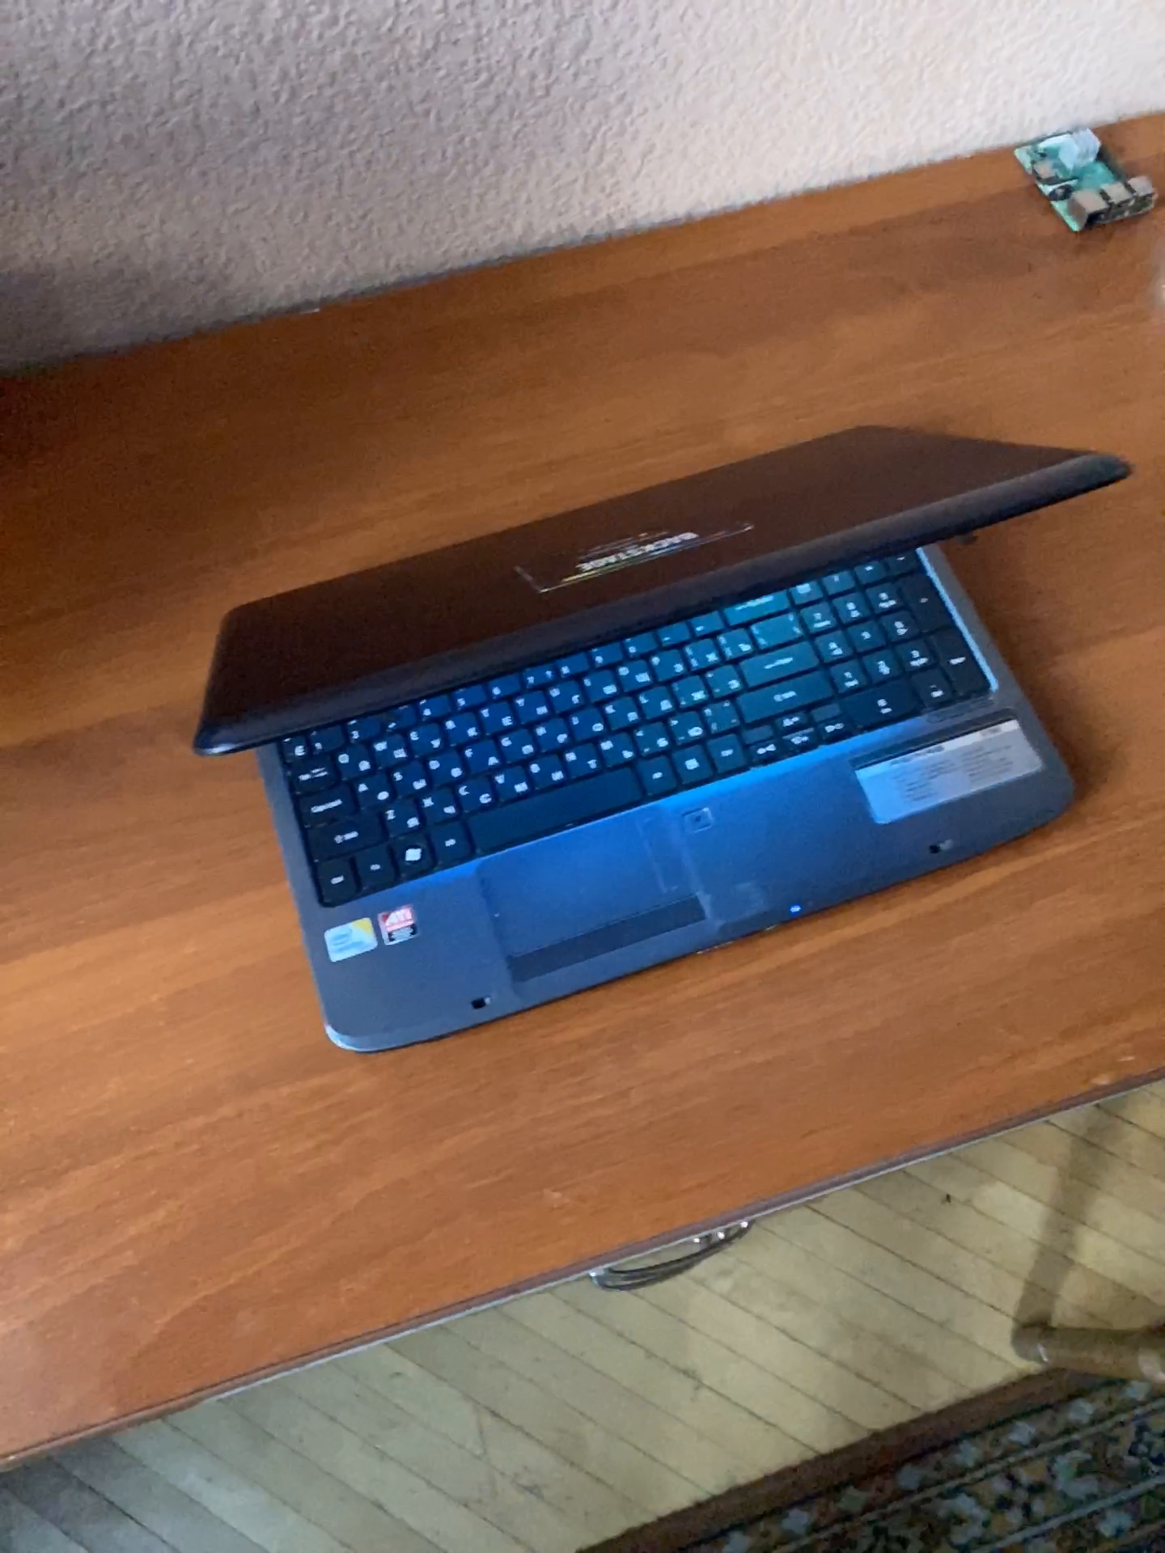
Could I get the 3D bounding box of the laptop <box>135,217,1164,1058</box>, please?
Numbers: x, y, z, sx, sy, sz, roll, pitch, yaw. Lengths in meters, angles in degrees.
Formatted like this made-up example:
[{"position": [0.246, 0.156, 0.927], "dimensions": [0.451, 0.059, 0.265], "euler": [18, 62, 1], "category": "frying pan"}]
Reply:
[{"position": [0.028, -0.064, 0.554], "dimensions": [0.380, 0.163, 0.241], "euler": [-18, 66, -7], "category": "laptop"}]
